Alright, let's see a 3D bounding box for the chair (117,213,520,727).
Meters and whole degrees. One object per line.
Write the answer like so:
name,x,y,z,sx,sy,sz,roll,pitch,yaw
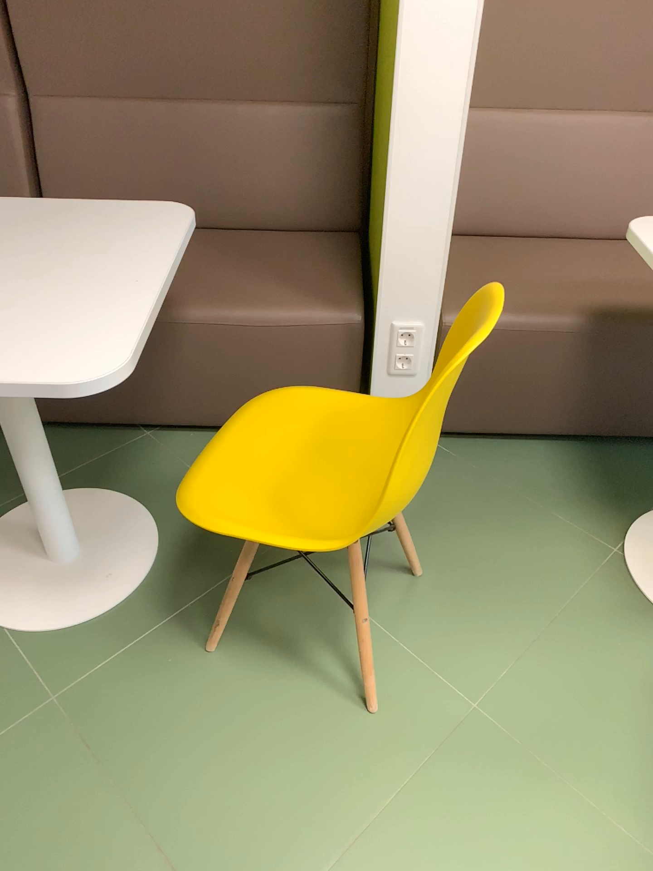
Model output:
chair,0.002,0.080,1.292,0.520,0.815,0.412,14,39,14
